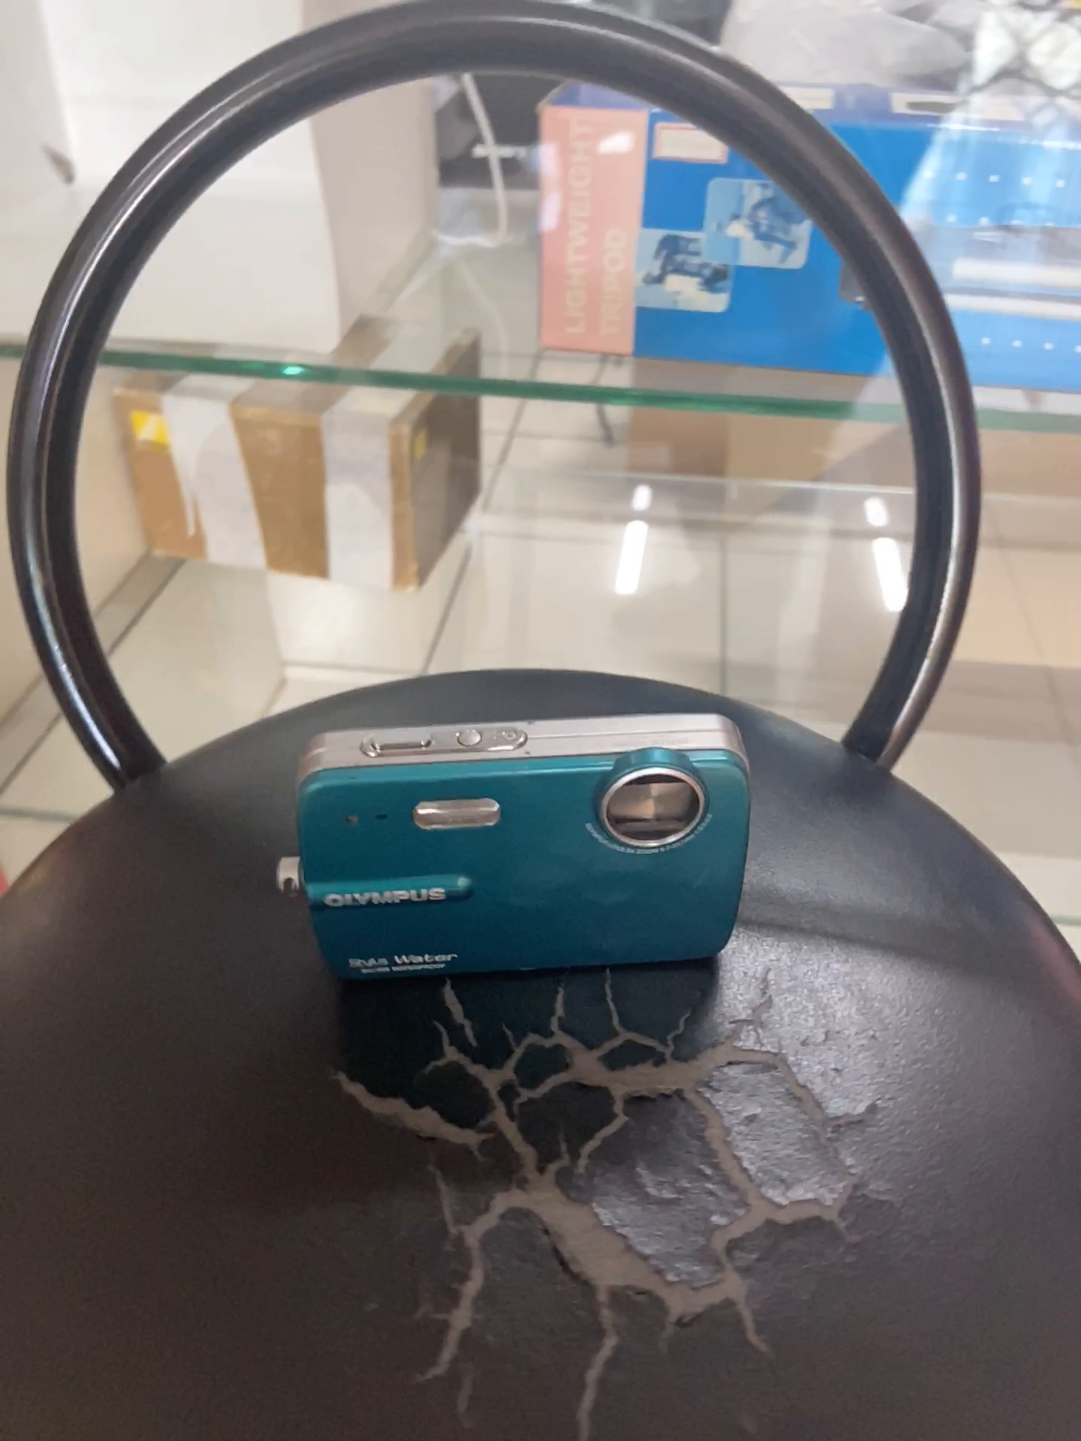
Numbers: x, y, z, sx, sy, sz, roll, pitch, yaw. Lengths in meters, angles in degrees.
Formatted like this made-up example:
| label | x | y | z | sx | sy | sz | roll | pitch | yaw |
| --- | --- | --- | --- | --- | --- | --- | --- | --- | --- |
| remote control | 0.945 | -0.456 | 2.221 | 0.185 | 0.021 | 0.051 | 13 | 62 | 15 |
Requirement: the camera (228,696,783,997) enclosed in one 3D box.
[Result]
| label | x | y | z | sx | sy | sz | roll | pitch | yaw |
| --- | --- | --- | --- | --- | --- | --- | --- | --- | --- |
| camera | -0.006 | 0.026 | 0.229 | 0.100 | 0.050 | 0.030 | -2 | 37 | -3 |
